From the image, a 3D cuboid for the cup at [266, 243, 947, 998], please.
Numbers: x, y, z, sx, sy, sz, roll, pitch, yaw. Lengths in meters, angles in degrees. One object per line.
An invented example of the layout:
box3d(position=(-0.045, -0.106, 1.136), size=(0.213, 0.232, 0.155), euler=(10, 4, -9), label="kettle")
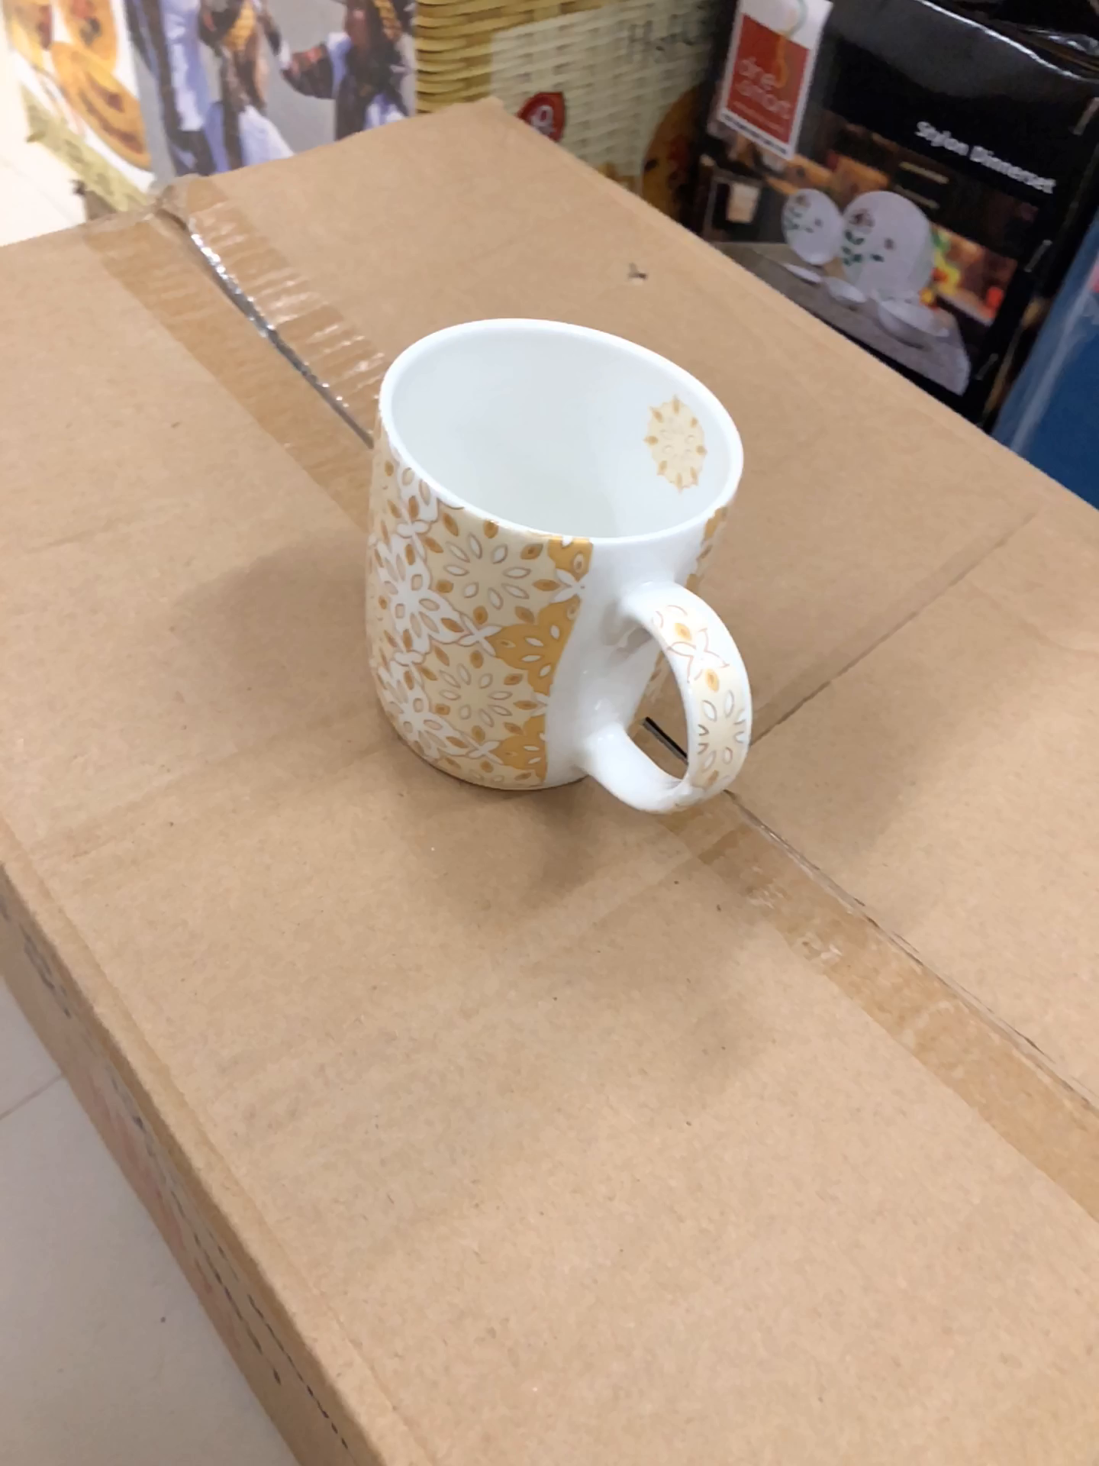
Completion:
box3d(position=(0.000, -0.029, 0.266), size=(0.080, 0.089, 0.120), euler=(-19, 57, -26), label="cup")
